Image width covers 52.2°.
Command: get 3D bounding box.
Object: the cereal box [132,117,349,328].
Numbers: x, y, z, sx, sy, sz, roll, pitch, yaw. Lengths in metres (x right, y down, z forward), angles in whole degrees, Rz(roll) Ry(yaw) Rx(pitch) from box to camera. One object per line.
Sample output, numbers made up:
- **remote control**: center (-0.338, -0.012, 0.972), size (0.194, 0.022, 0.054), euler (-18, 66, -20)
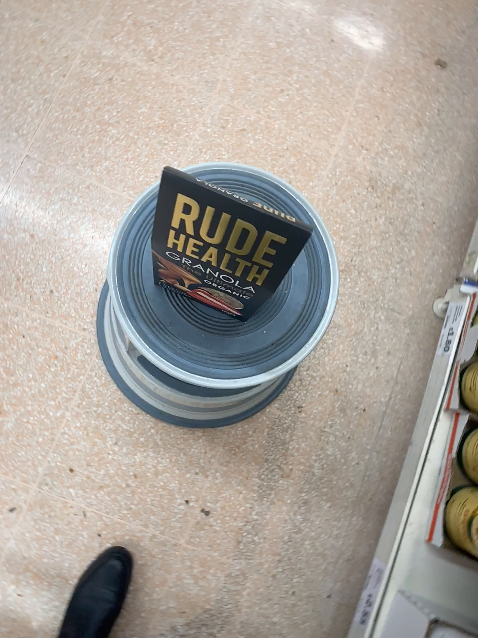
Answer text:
- **cereal box**: center (-0.014, -0.067, 0.476), size (0.140, 0.260, 0.070), euler (24, 79, -4)
